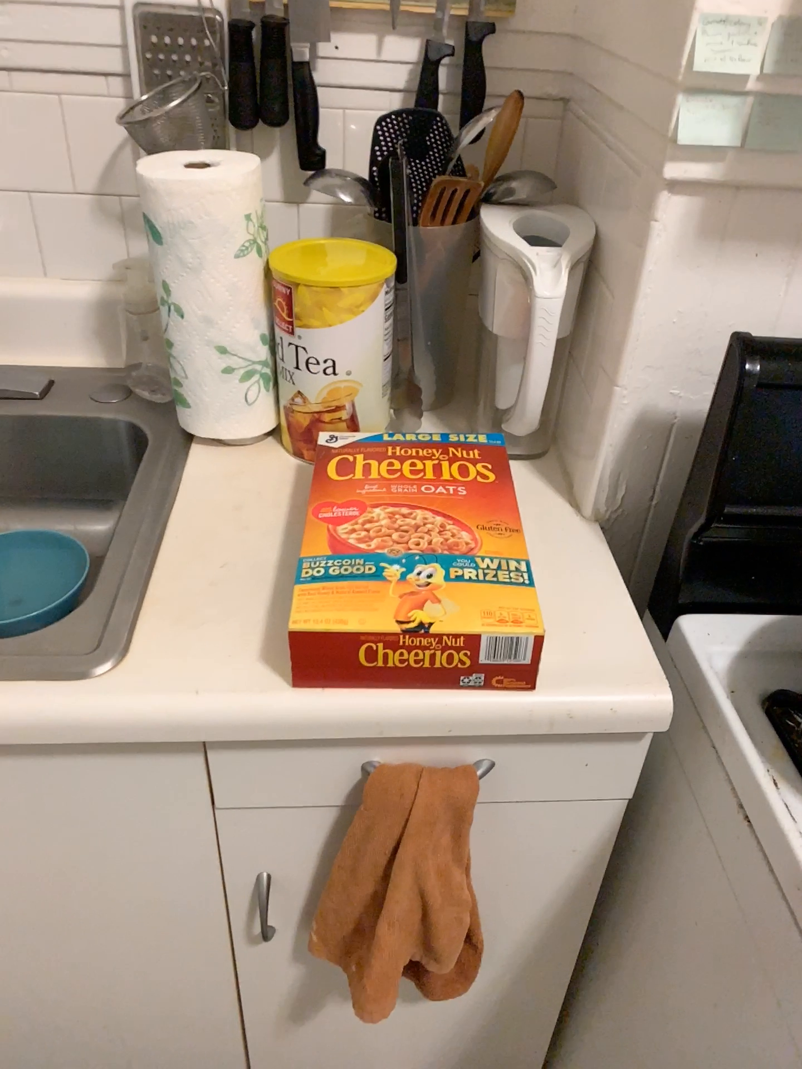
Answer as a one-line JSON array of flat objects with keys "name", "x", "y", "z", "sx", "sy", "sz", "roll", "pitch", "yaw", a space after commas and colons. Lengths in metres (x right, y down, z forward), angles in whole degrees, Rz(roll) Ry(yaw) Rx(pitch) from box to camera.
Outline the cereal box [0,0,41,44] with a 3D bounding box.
[{"name": "cereal box", "x": -3.713, "y": -5.049, "z": 7.464, "sx": 0.412, "sy": 0.954, "sz": 0.521, "roll": 31, "pitch": 44, "yaw": 32}]
